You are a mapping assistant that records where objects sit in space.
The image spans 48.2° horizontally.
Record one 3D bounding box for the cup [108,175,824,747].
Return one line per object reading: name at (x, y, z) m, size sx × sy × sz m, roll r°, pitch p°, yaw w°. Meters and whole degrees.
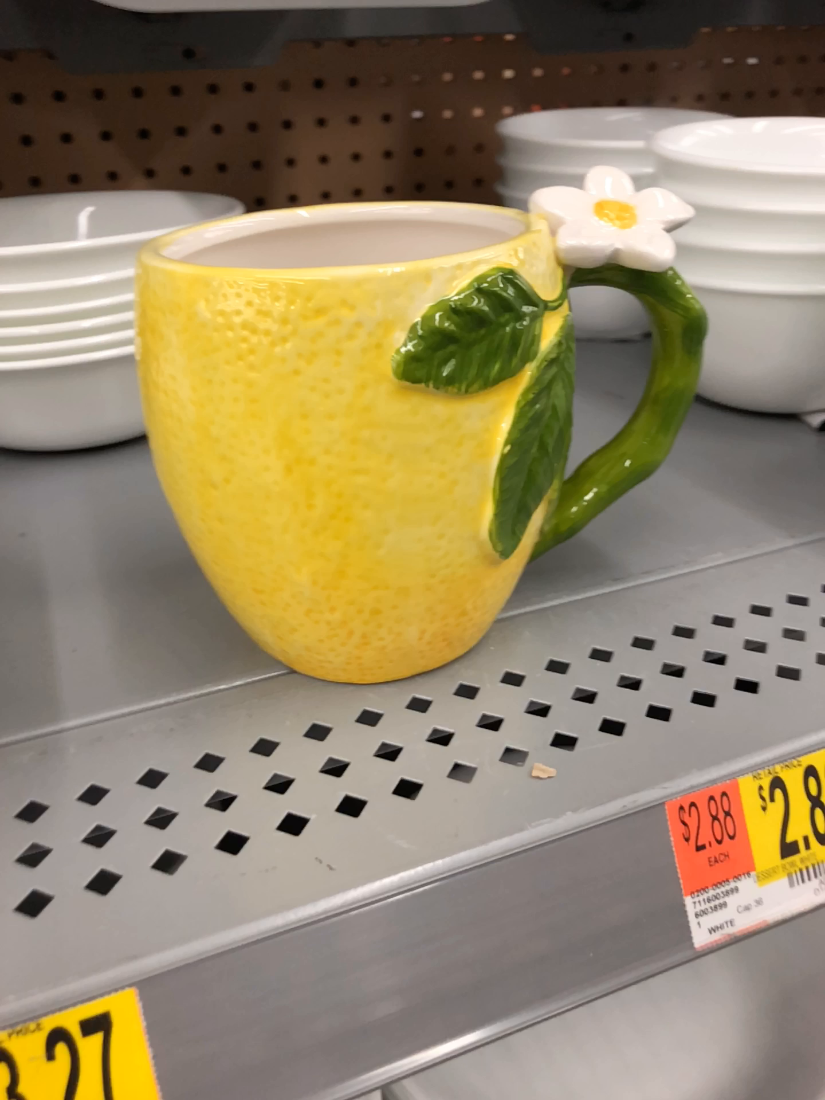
cup at (0.006, -0.035, 0.235) m, size 0.139 × 0.094 × 0.101 m, roll -11°, pitch 30°, yaw -15°
